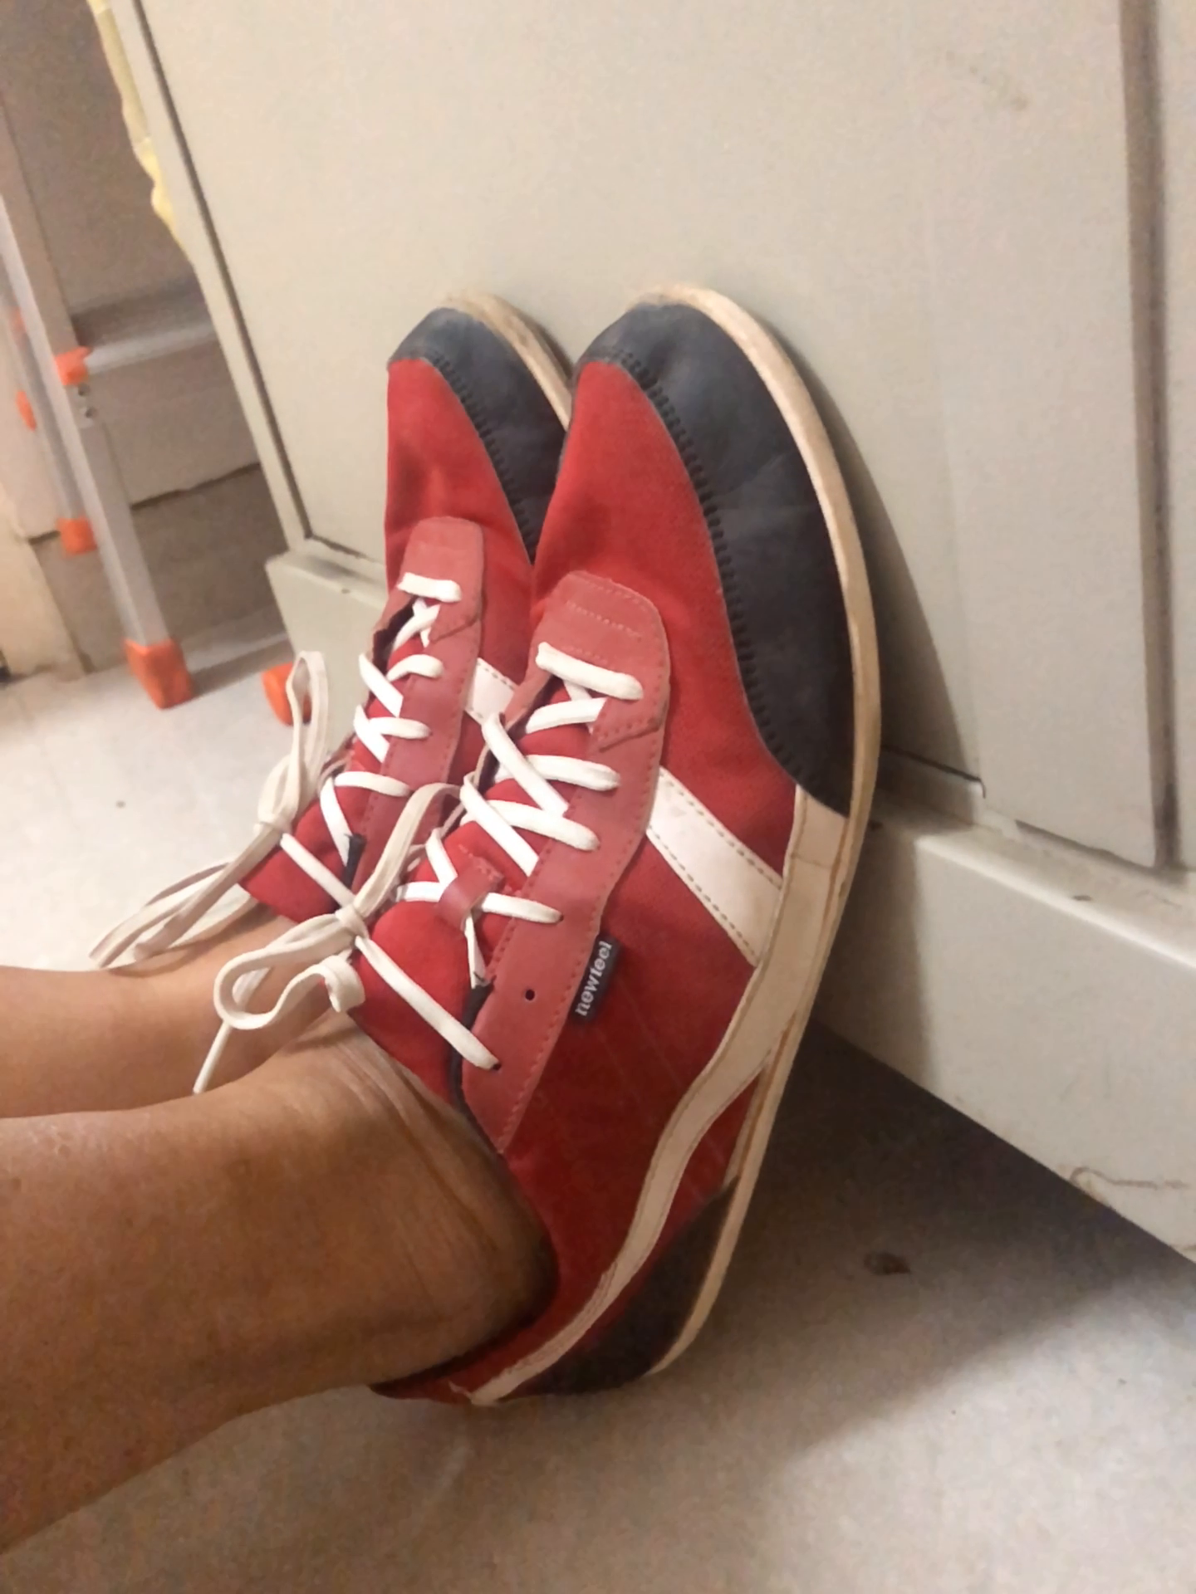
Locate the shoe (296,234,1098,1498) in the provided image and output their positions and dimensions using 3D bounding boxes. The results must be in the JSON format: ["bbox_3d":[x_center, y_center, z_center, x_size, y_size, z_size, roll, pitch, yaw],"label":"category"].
[{"bbox_3d":[0.013,0.012,0.312,0.080,0.249,0.100,9,10,-37],"label":"shoe"}]

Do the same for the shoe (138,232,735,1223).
[{"bbox_3d":[-0.047,-0.020,0.366,0.100,0.230,0.080,13,4,42],"label":"shoe"}]
